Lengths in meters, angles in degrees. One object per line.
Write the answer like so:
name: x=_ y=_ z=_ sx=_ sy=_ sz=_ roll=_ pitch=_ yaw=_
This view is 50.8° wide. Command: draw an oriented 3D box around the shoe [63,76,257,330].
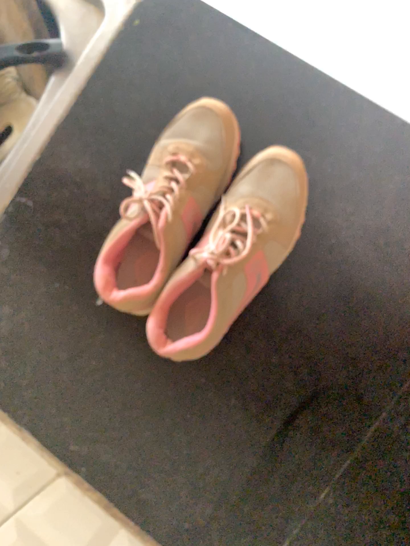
shoe: x=-0.041 y=-0.066 z=0.464 sx=0.090 sy=0.100 sz=0.230 roll=28 pitch=93 yaw=10

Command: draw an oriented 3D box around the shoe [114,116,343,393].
shoe: x=0.026 y=-0.016 z=0.448 sx=0.100 sy=0.100 sz=0.240 roll=32 pitch=94 yaw=9
